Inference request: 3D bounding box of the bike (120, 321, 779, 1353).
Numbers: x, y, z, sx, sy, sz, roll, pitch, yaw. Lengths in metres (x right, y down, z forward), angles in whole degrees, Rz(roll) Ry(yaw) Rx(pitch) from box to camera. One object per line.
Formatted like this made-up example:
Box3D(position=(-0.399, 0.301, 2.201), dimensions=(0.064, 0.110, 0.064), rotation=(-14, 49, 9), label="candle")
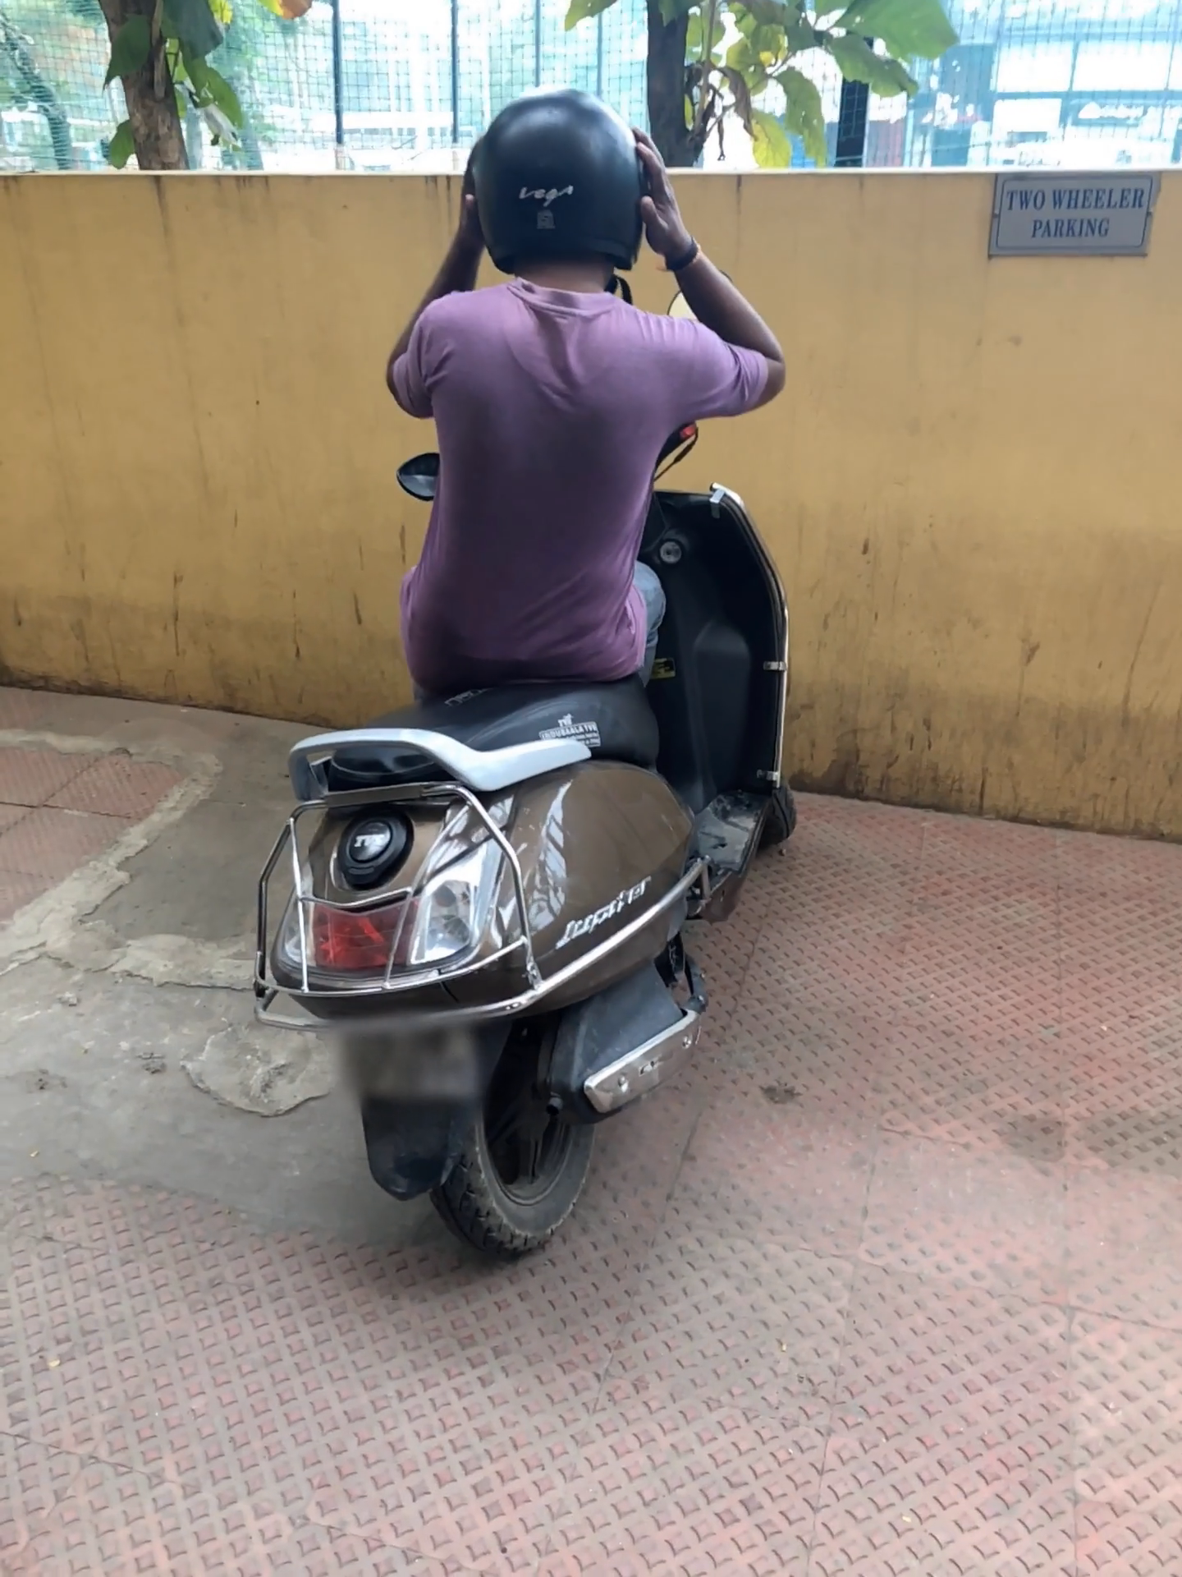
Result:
Box3D(position=(-0.065, -0.147, 2.438), dimensions=(0.644, 1.182, 1.723), rotation=(5, 26, 12), label="bike")
